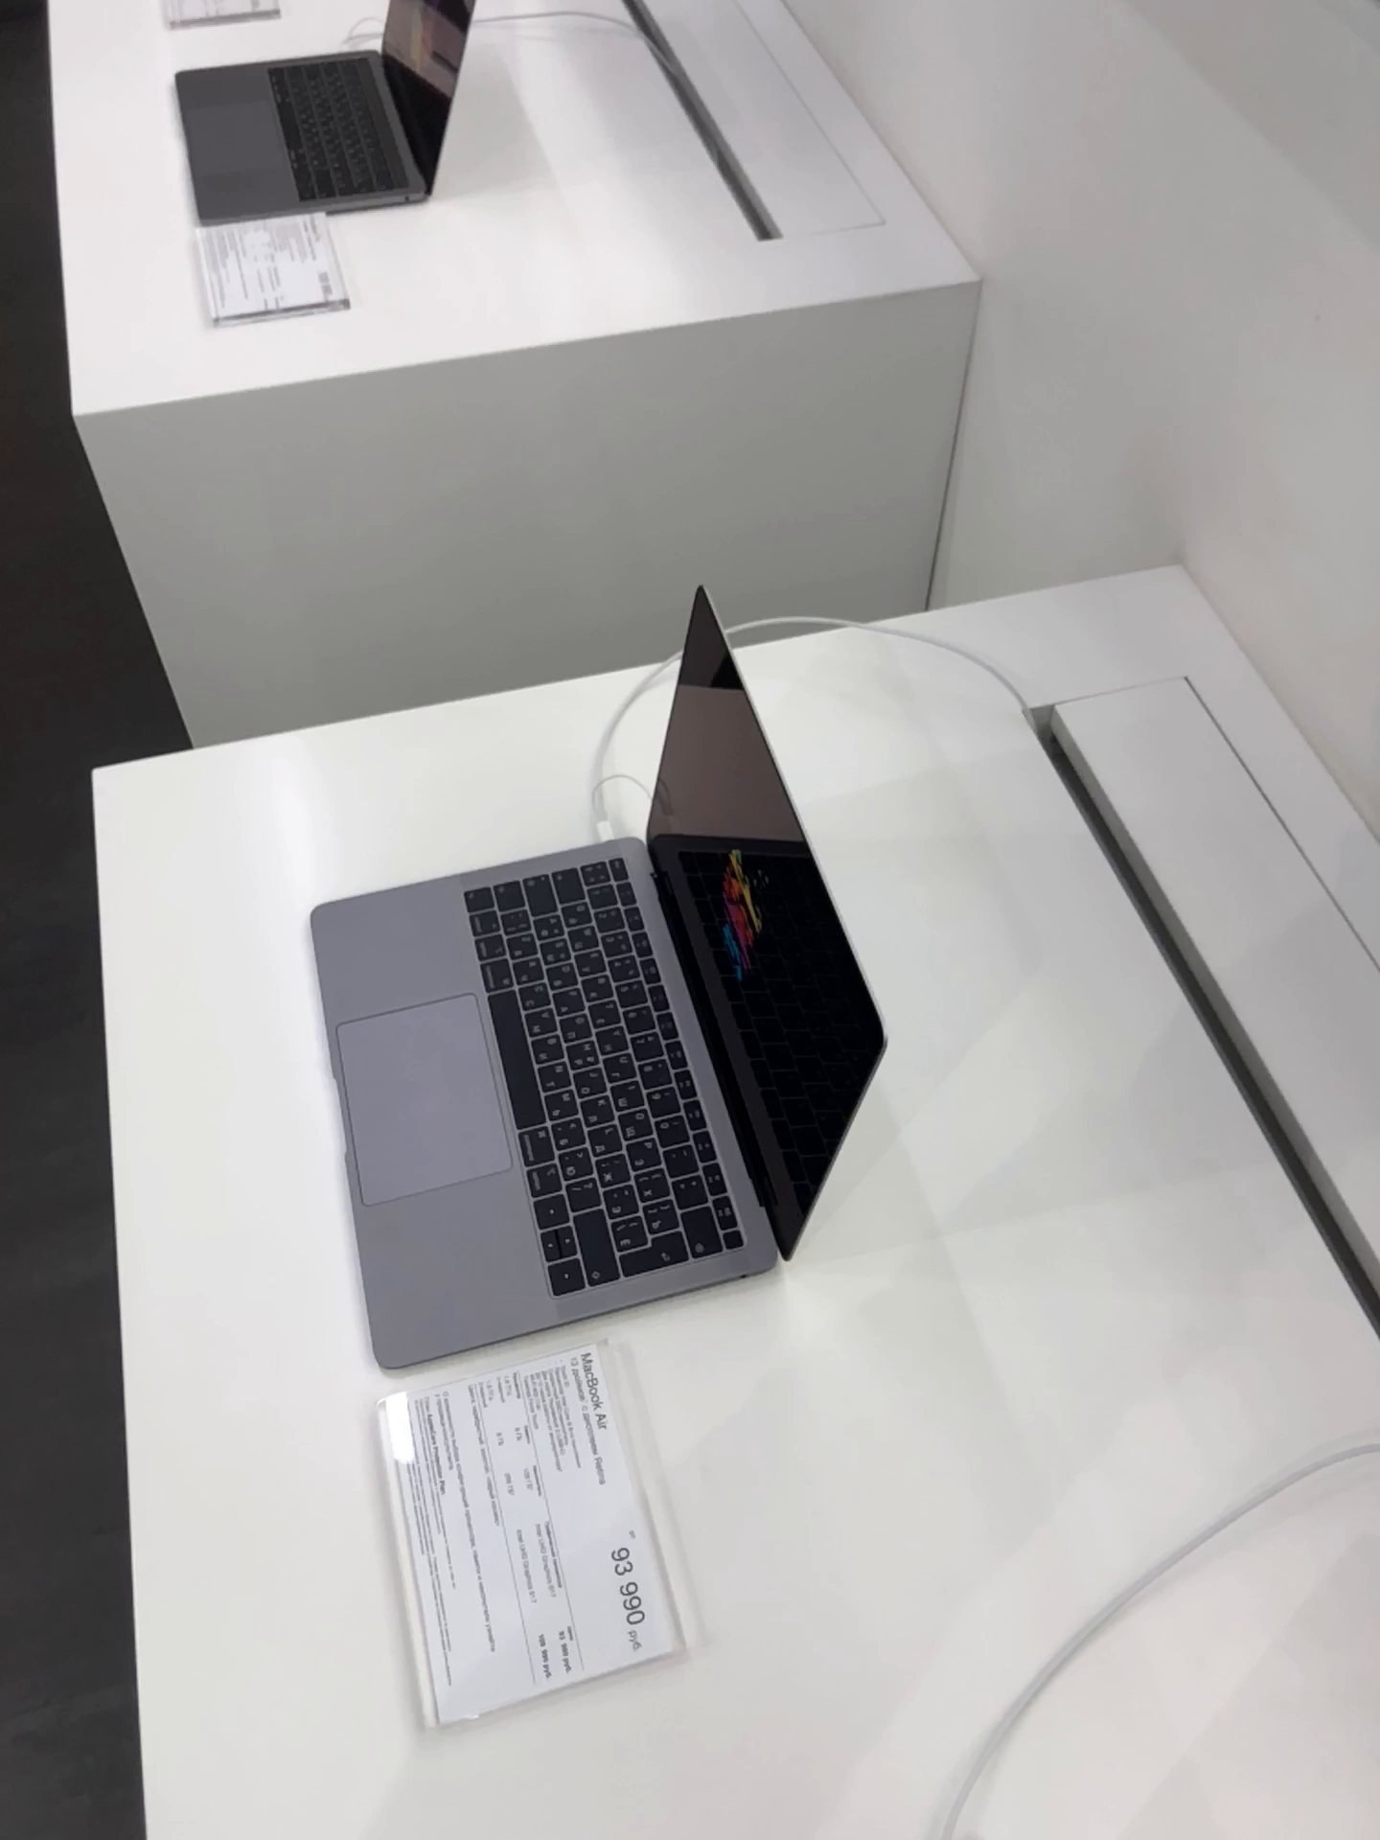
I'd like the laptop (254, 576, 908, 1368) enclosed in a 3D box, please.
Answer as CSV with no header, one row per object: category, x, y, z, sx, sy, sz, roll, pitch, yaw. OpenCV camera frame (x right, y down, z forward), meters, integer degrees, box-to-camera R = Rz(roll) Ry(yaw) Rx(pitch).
laptop,-0.064,0.020,0.773,0.250,0.194,0.286,-14,54,-8
